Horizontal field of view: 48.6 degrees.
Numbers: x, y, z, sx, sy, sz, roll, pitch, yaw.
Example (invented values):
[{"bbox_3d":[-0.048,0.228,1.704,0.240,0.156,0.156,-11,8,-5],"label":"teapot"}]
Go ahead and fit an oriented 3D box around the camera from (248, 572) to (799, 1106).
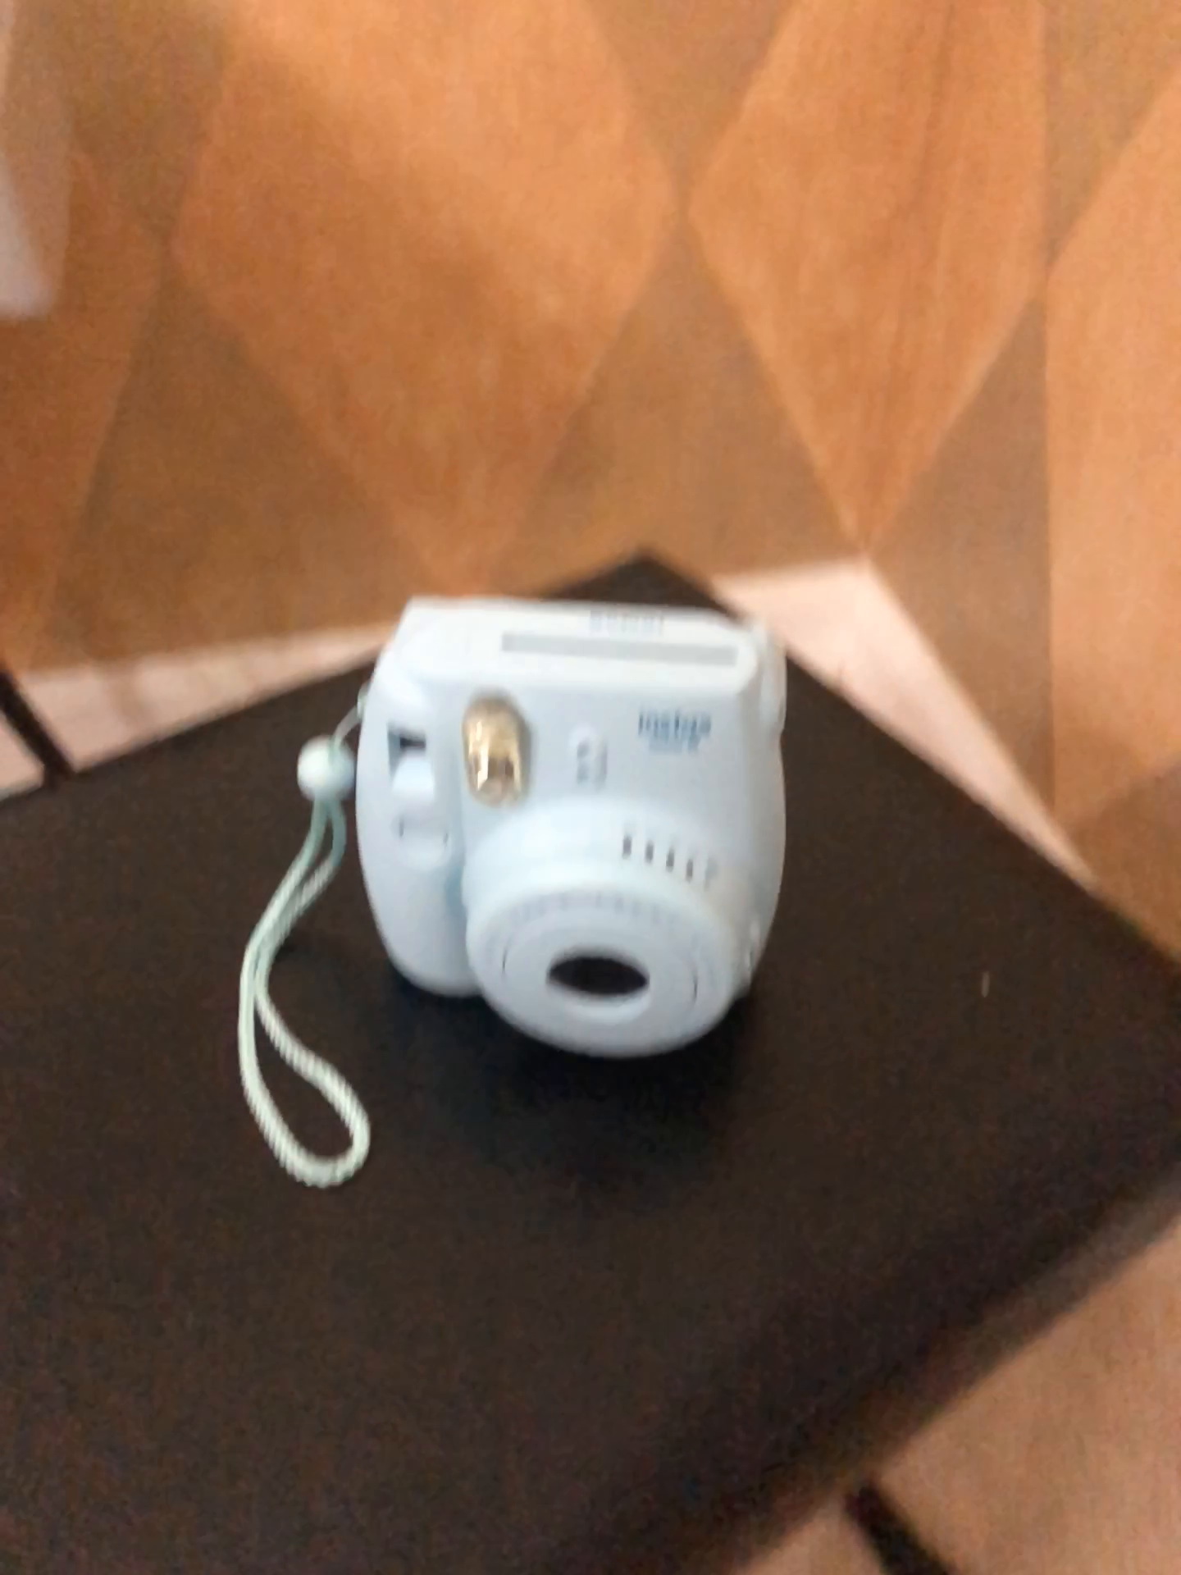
[{"bbox_3d":[-0.012,0.016,0.346,0.120,0.118,0.068,4,43,5],"label":"camera"}]
